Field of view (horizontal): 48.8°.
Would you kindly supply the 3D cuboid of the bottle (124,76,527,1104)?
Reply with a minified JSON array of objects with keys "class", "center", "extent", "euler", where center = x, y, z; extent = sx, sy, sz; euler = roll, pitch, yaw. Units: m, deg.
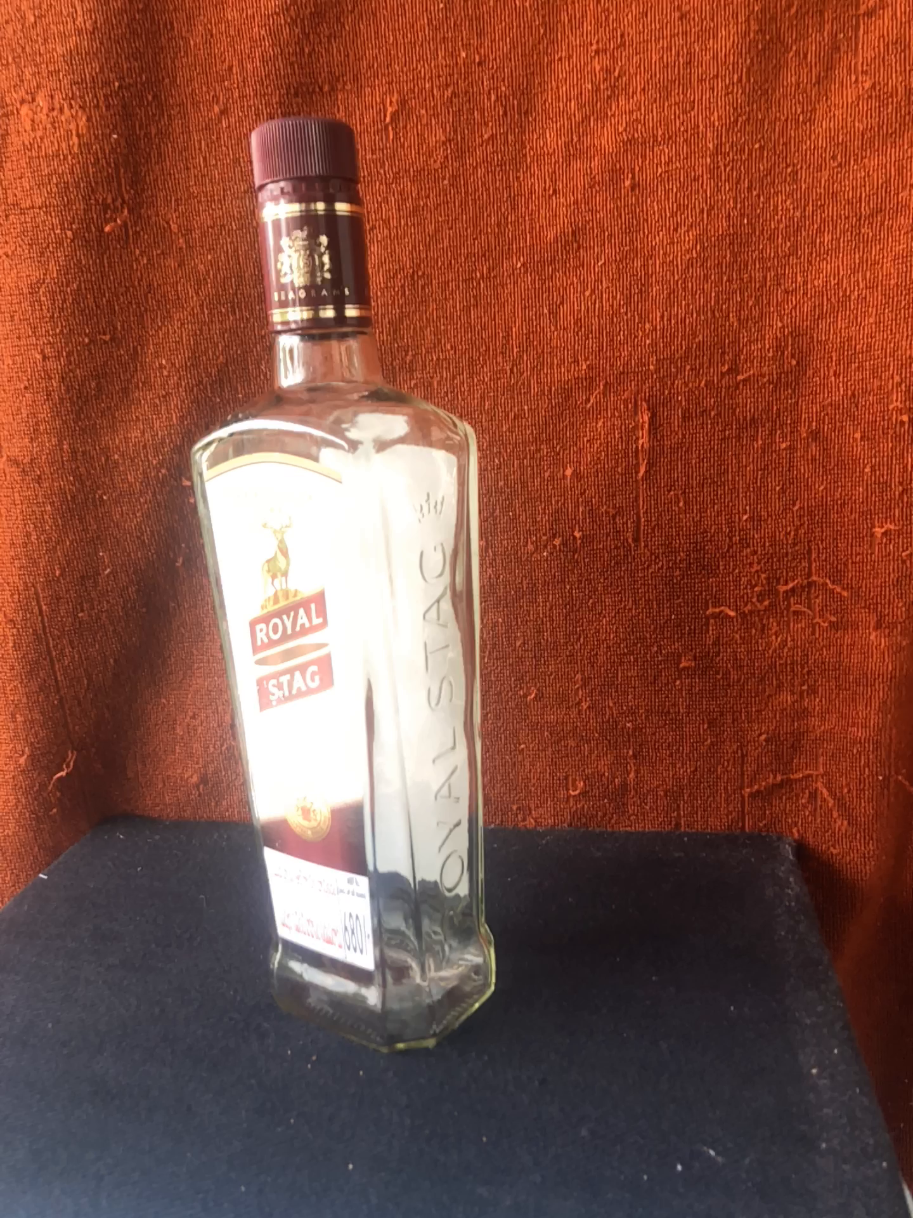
[{"class":"bottle","center":[-0.035,0.001,0.323],"extent":[0.090,0.289,0.060],"euler":[6,17,31]}]
